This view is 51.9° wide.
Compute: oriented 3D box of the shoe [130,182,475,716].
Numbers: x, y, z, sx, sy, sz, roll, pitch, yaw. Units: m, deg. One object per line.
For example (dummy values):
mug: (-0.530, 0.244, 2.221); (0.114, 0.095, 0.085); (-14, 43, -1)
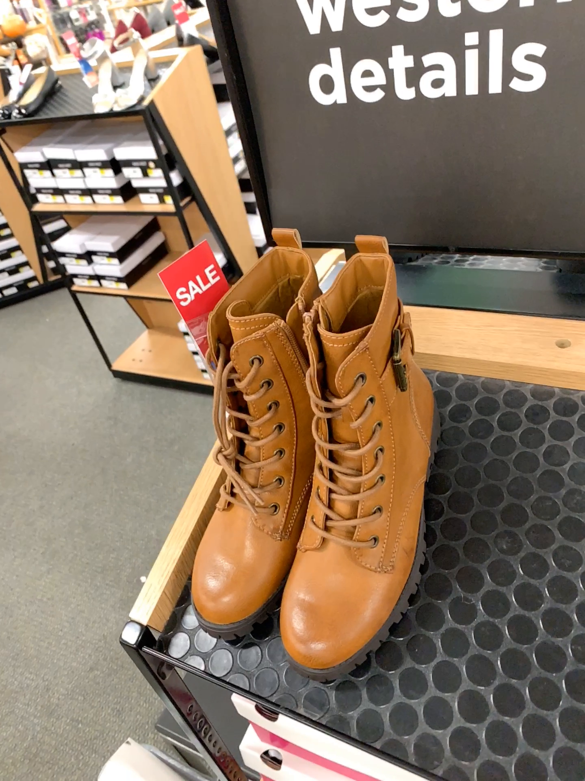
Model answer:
shoe: (0.048, 0.024, 0.432); (0.110, 0.229, 0.287); (7, 44, 24)

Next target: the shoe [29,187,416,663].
shoe: (-0.014, 0.015, 0.465); (0.090, 0.229, 0.276); (16, 48, 32)
